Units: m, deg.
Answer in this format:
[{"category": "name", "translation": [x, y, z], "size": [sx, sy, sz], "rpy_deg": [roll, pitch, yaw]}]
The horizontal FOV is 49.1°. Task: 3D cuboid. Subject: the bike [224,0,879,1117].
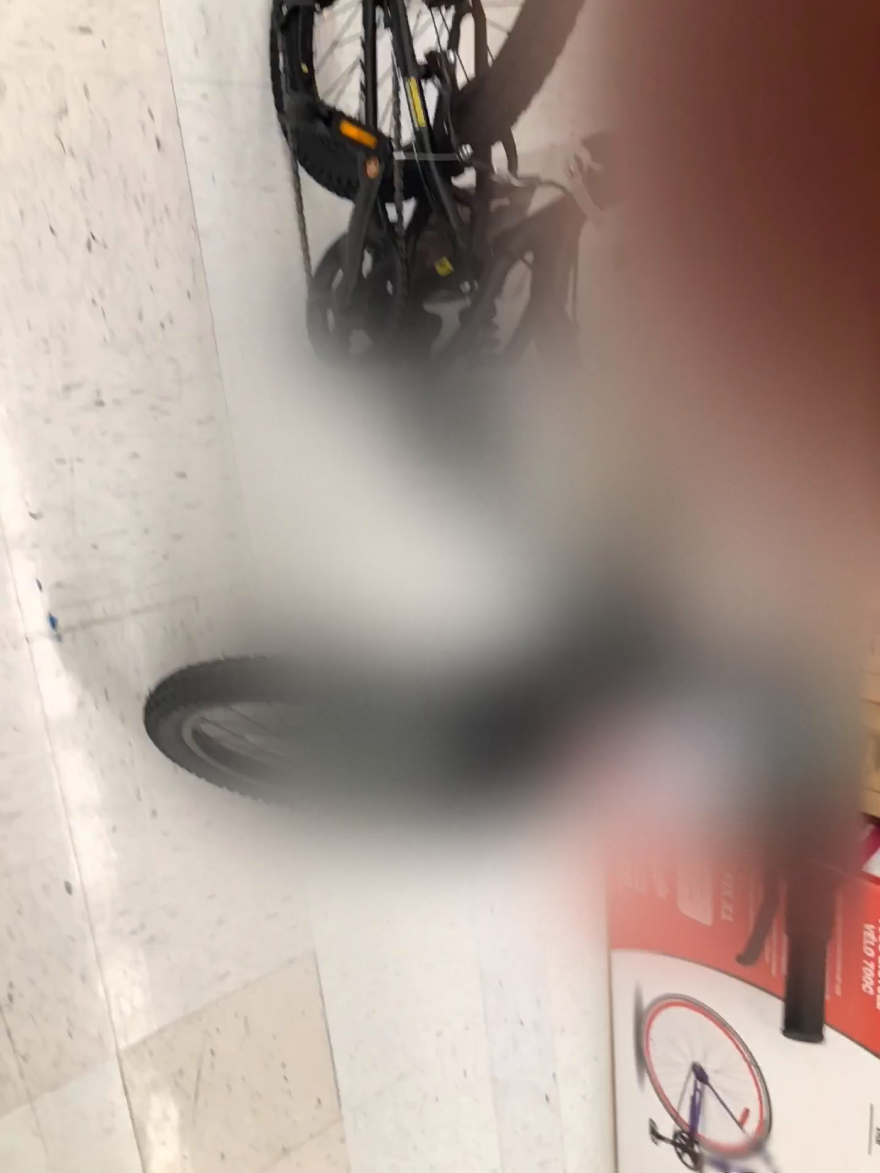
[{"category": "bike", "translation": [0.283, -0.278, 1.085], "size": [0.525, 0.849, 1.258], "rpy_deg": [-10, 100, -37]}]
